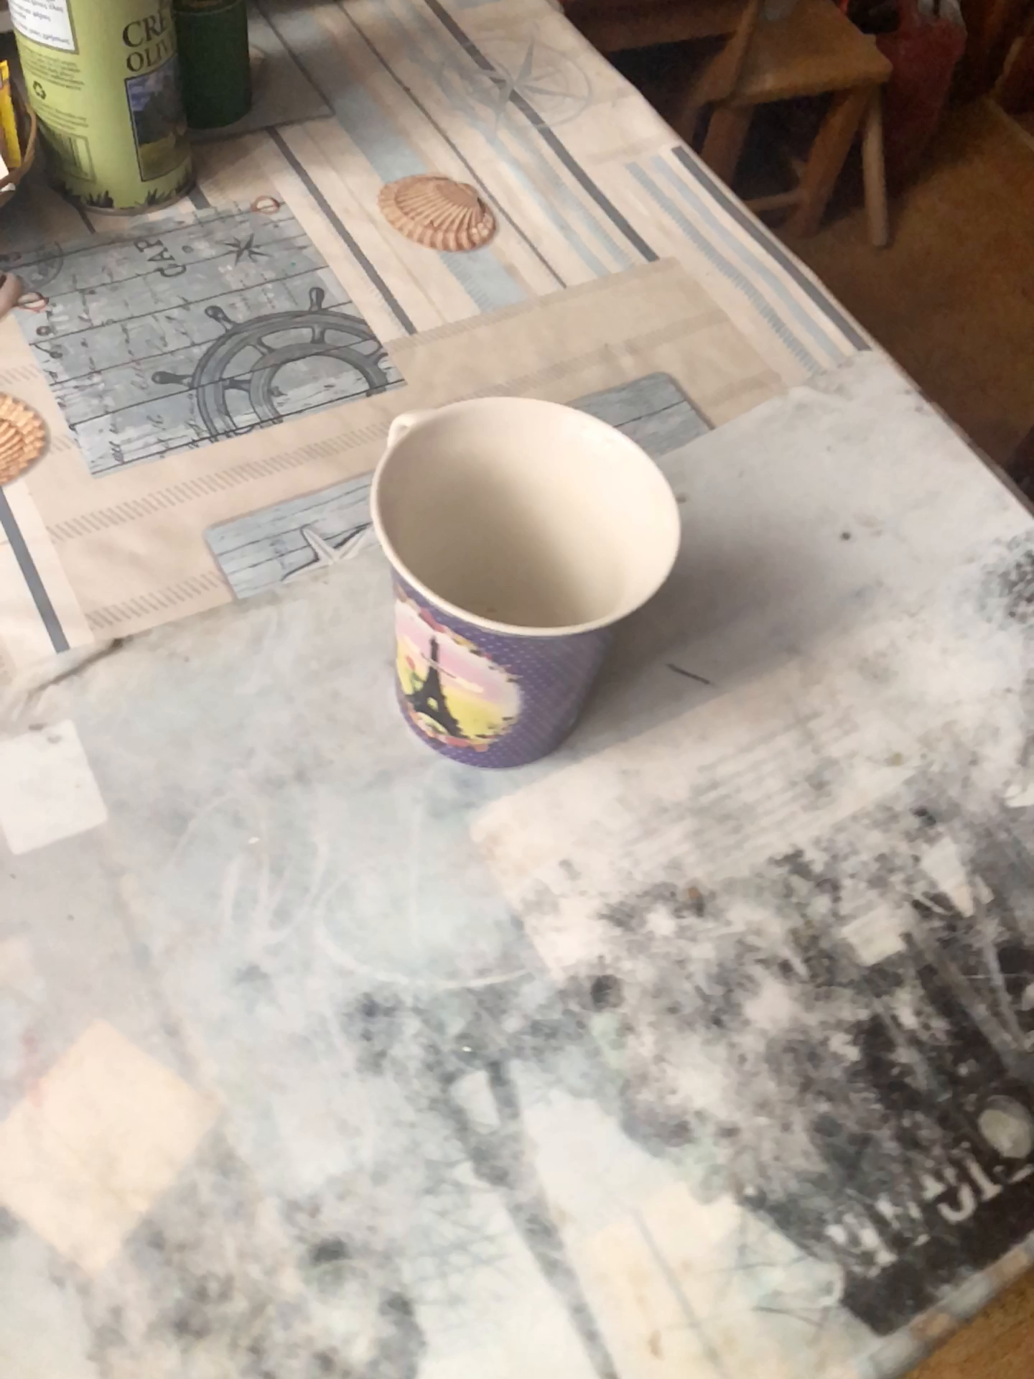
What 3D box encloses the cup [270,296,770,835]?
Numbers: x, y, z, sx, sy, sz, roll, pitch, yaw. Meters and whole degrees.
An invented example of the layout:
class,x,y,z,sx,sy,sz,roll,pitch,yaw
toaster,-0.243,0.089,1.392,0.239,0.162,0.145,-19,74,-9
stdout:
class,x,y,z,sx,sy,sz,roll,pitch,yaw
cup,-0.005,-0.040,0.362,0.090,0.085,0.120,-30,67,-24
